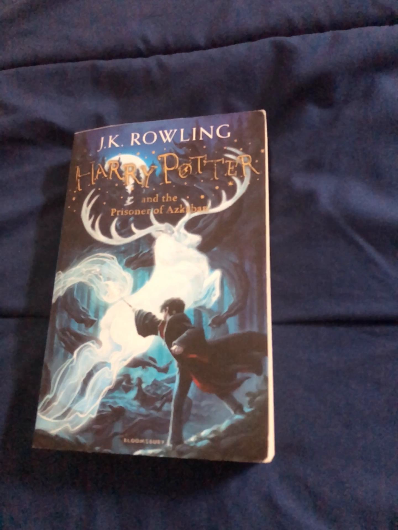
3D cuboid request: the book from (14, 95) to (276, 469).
[{"bbox_3d":[-0.024,0.005,0.265,0.134,0.045,0.200,-2,74,13],"label":"book"}]
